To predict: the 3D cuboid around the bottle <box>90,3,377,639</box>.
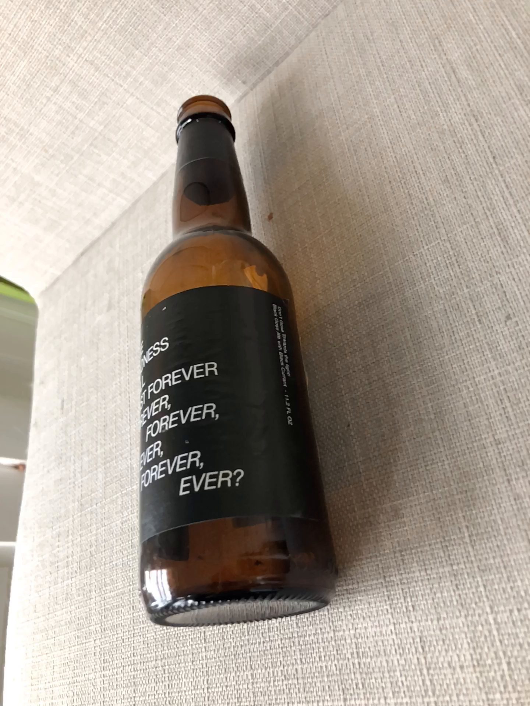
[{"bbox_3d":[-0.023,-0.025,0.232,0.060,0.060,0.239,-30,55,34],"label":"bottle"}]
